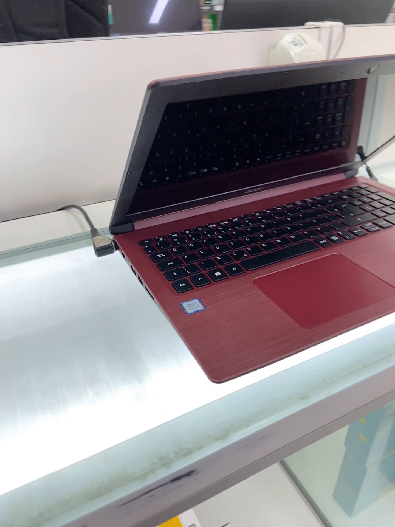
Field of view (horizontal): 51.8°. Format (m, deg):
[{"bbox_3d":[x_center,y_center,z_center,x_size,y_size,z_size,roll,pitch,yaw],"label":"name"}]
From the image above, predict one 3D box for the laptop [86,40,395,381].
[{"bbox_3d":[0.119,-0.098,0.389,0.368,0.179,0.239,-16,35,-22],"label":"laptop"}]
